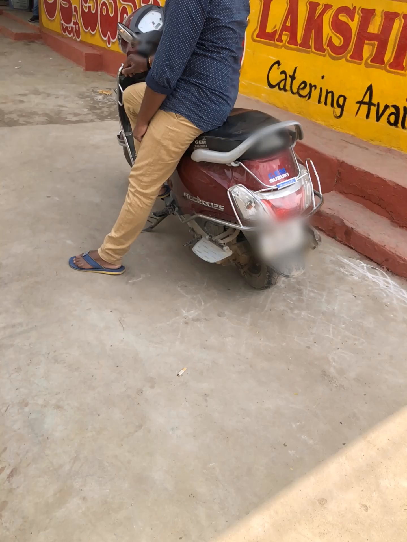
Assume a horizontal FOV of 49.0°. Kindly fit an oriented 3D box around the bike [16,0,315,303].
[{"bbox_3d":[-0.327,-0.723,2.215,0.631,1.087,1.380,-15,38,-33],"label":"bike"}]
